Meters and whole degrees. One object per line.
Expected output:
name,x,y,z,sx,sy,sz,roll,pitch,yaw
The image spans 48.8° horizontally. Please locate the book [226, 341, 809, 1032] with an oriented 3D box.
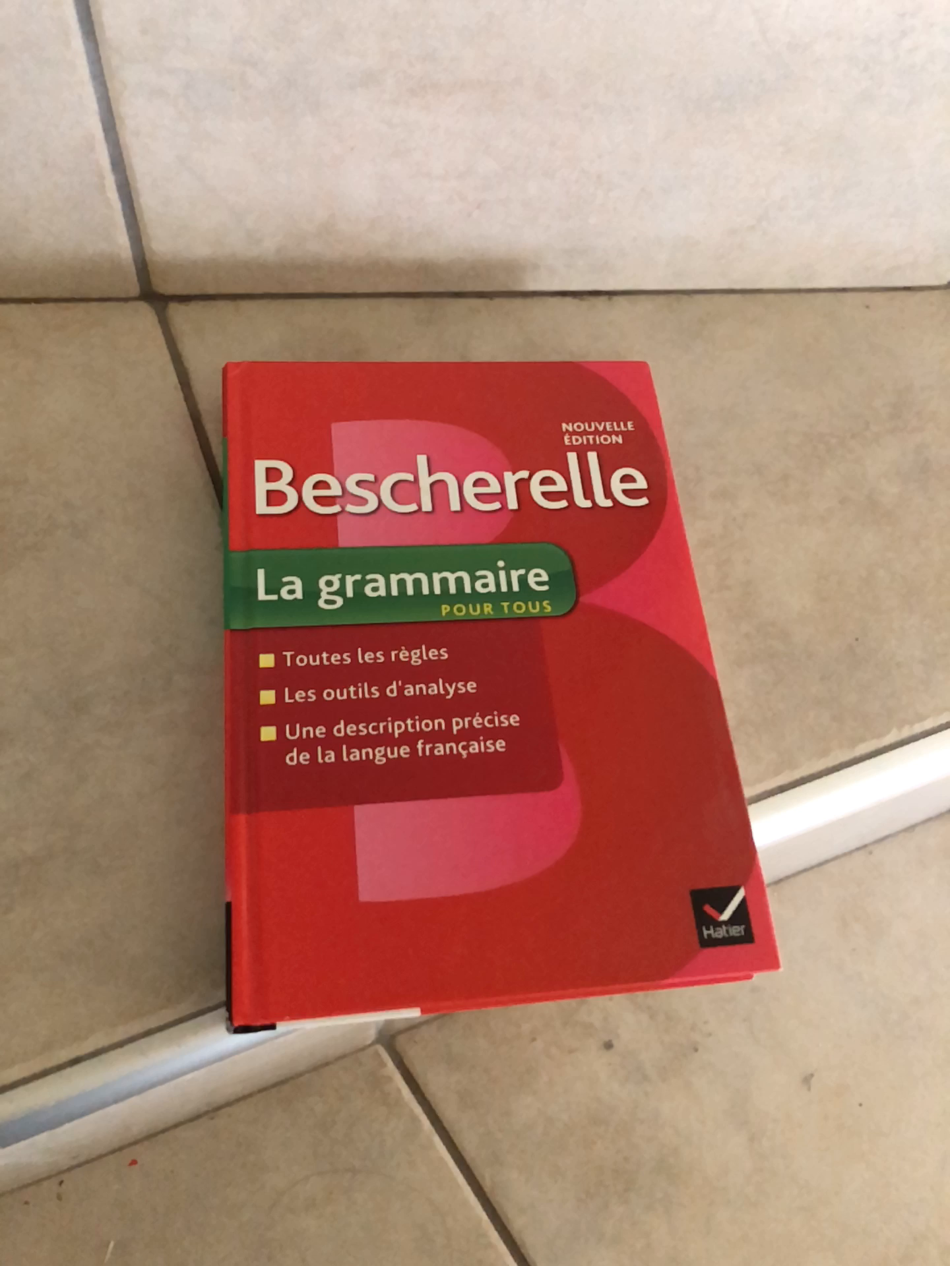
book,0.002,0.001,0.305,0.143,0.020,0.201,-3,65,-9
